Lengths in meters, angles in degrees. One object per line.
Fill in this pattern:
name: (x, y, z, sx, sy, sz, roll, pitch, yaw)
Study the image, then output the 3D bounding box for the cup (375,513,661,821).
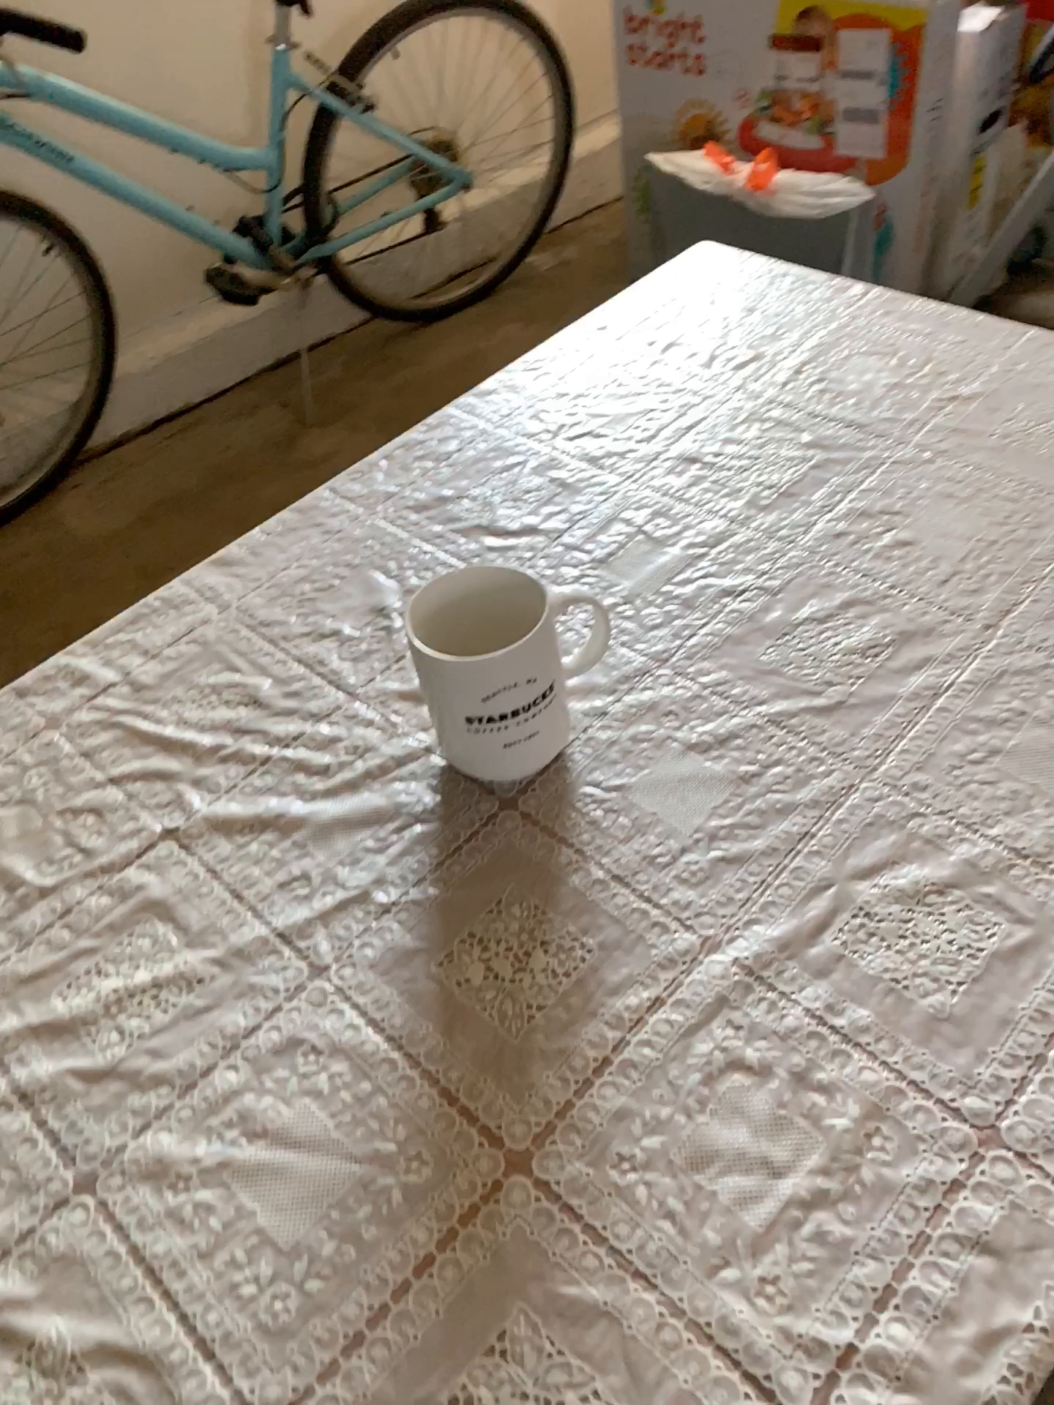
cup: (-0.002, -0.022, 0.649, 0.130, 0.110, 0.090, -29, 49, -15)
